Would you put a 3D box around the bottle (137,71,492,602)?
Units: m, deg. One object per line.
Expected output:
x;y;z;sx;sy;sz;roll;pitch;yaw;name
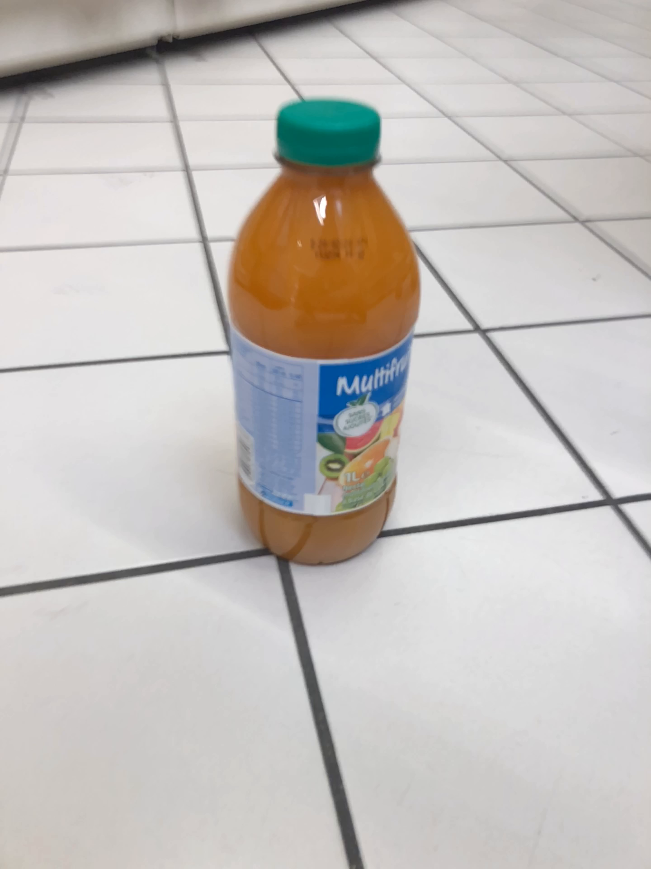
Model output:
-0.006;-0.044;0.343;0.100;0.209;0.101;2;37;-2;bottle
